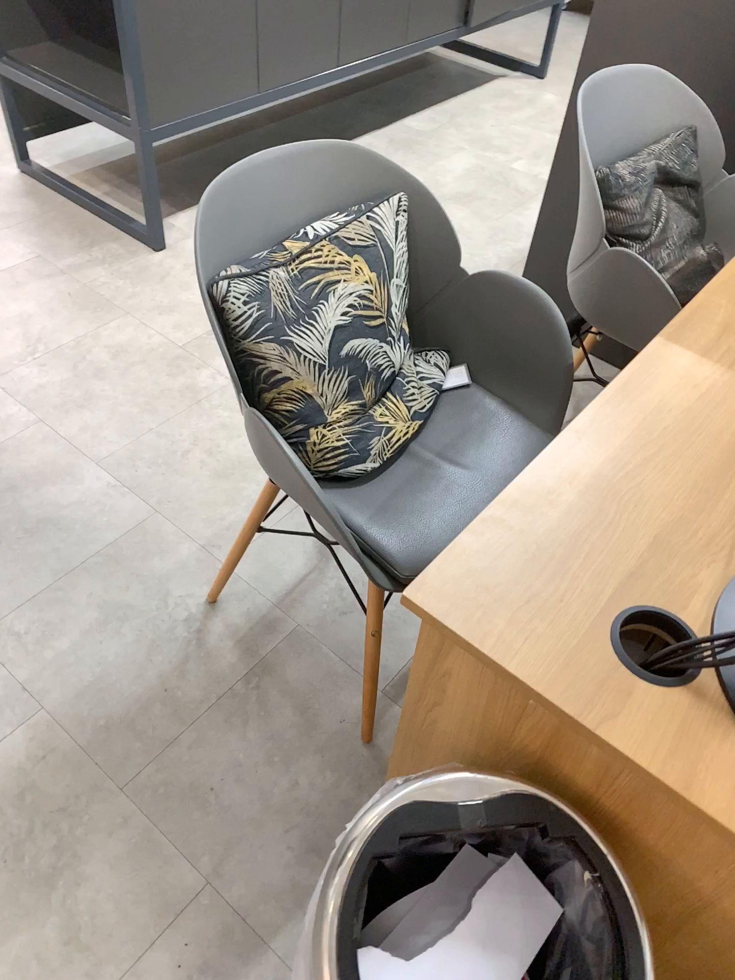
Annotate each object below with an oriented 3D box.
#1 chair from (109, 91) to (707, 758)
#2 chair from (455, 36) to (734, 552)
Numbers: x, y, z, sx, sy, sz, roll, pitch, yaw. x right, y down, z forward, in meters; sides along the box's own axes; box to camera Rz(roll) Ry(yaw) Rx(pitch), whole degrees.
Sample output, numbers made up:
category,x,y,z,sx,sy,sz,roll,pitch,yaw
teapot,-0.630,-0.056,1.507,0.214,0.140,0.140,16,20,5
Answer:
category,x,y,z,sx,sy,sz,roll,pitch,yaw
chair,0.042,-0.106,1.290,0.548,0.808,0.600,35,53,24
chair,0.655,-0.432,1.670,0.548,0.808,0.590,35,53,24
